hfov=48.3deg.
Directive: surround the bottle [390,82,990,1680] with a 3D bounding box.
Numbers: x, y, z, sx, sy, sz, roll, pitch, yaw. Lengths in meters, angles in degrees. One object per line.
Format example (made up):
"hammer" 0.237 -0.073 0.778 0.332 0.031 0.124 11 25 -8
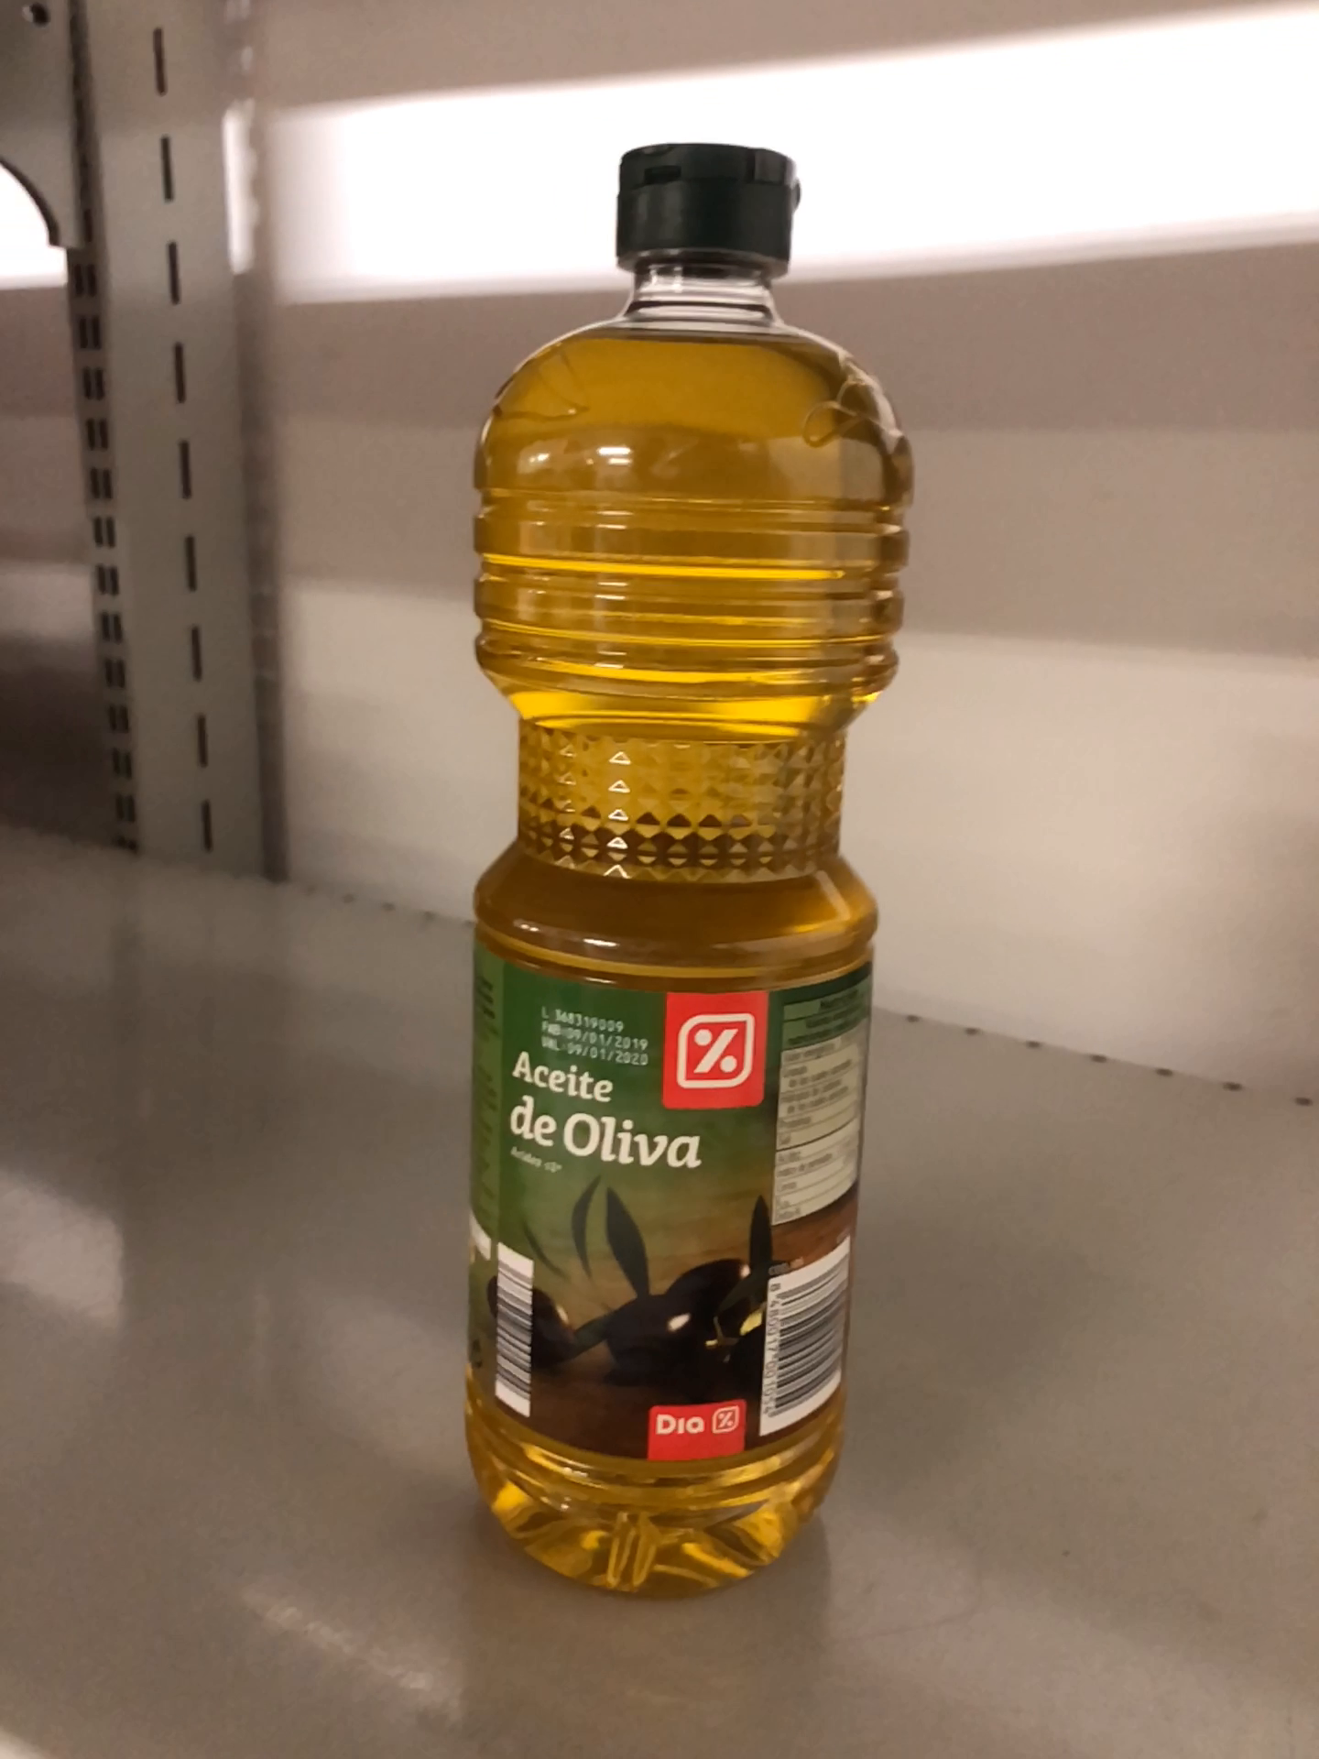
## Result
"bottle" 0.004 0.007 0.255 0.080 0.249 0.060 5 16 10
